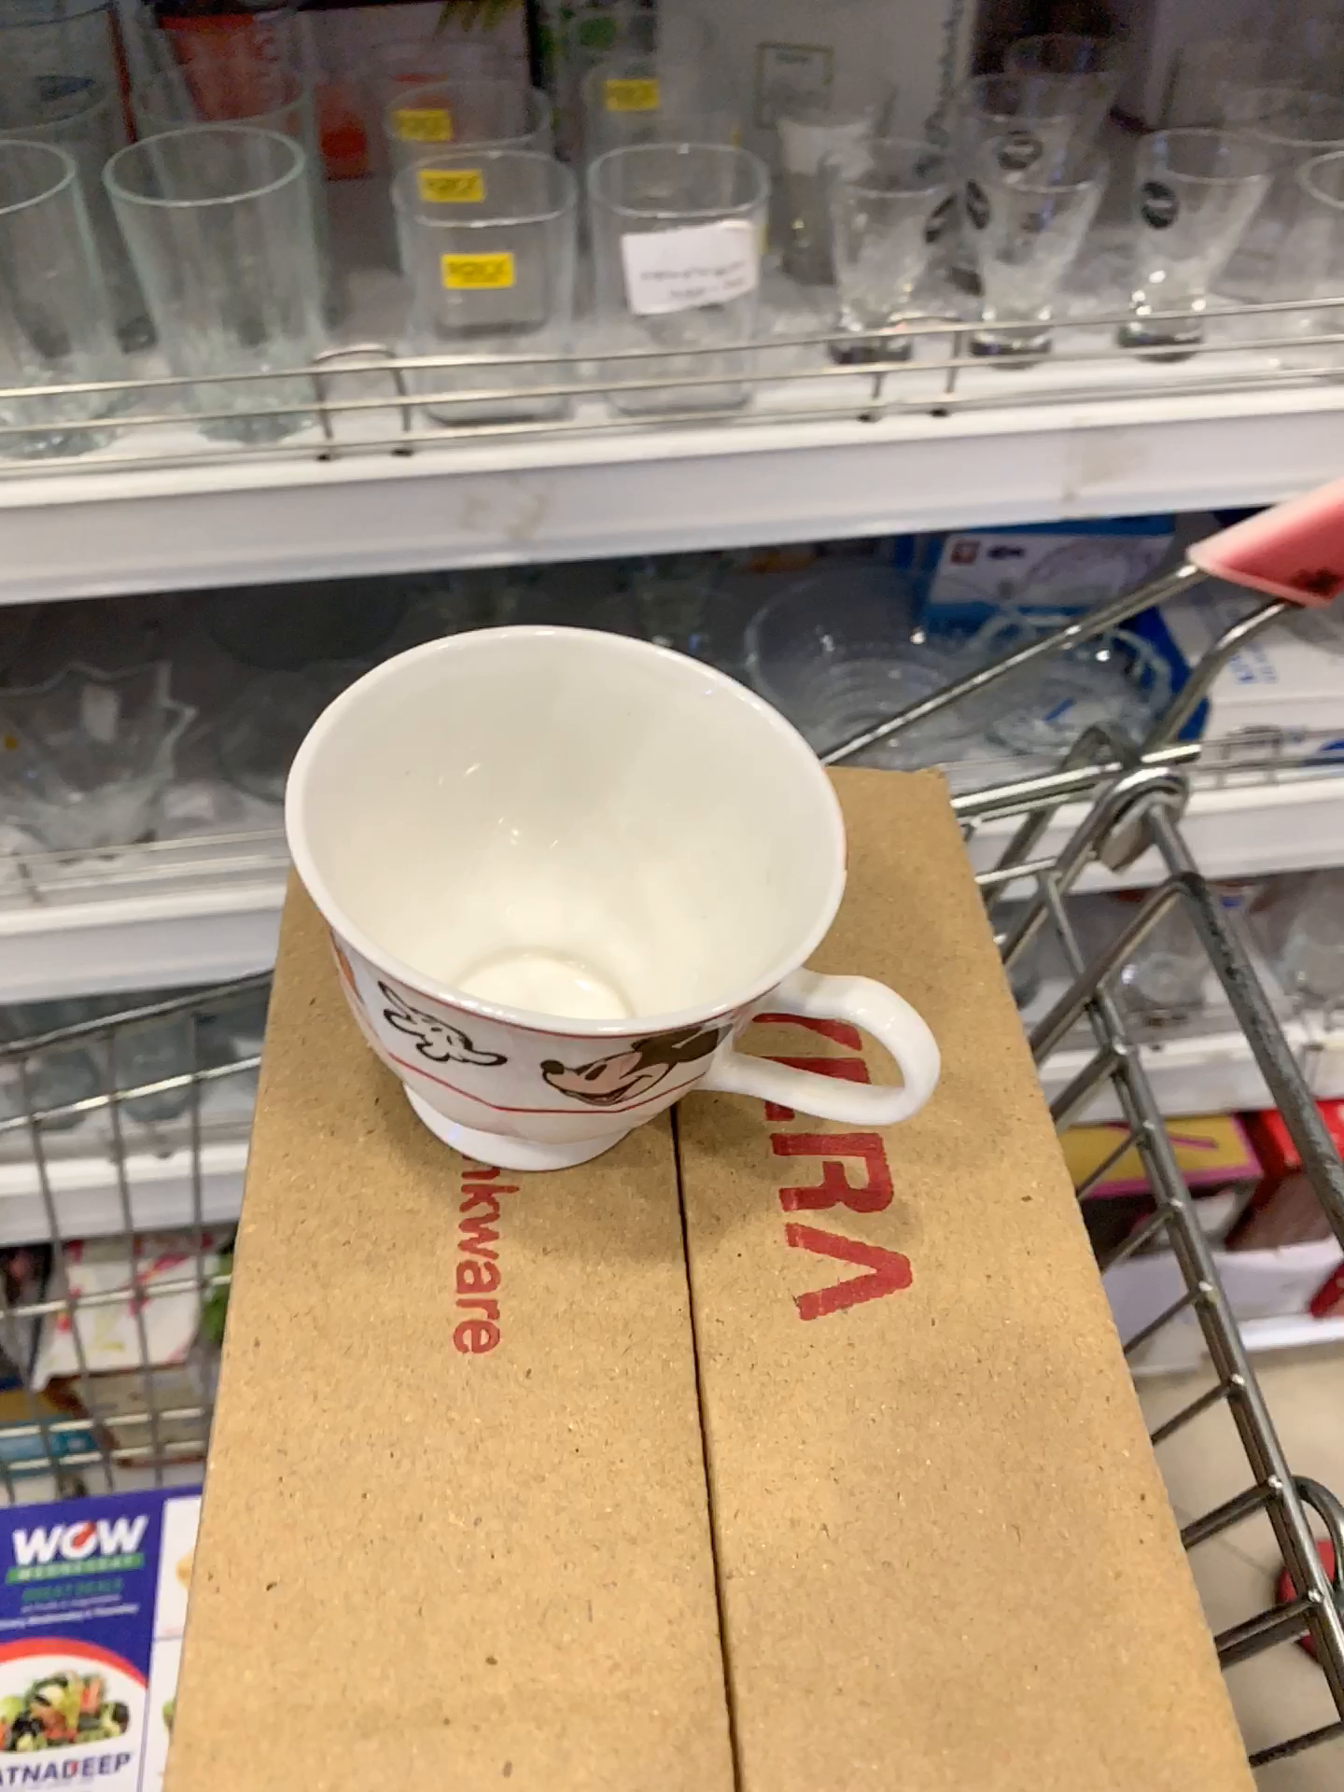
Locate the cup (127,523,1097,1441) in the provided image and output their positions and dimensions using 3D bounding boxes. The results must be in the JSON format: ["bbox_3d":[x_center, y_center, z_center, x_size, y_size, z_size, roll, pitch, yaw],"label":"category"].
[{"bbox_3d":[-0.008,0.008,0.207,0.100,0.060,0.080,30,54,18],"label":"cup"}]
